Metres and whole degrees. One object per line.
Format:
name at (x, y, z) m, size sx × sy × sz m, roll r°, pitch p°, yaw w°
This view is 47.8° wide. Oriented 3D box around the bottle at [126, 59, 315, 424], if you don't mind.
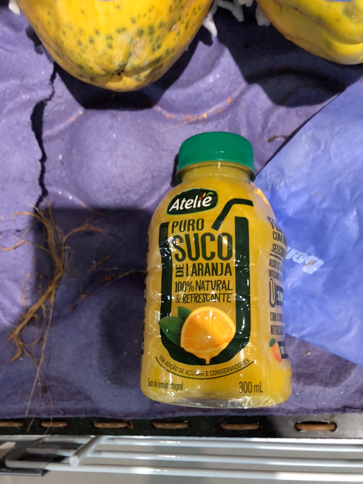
bottle at (0.019, 0.001, 0.193) m, size 0.070 × 0.060 × 0.140 m, roll -4°, pitch 83°, yaw 13°
